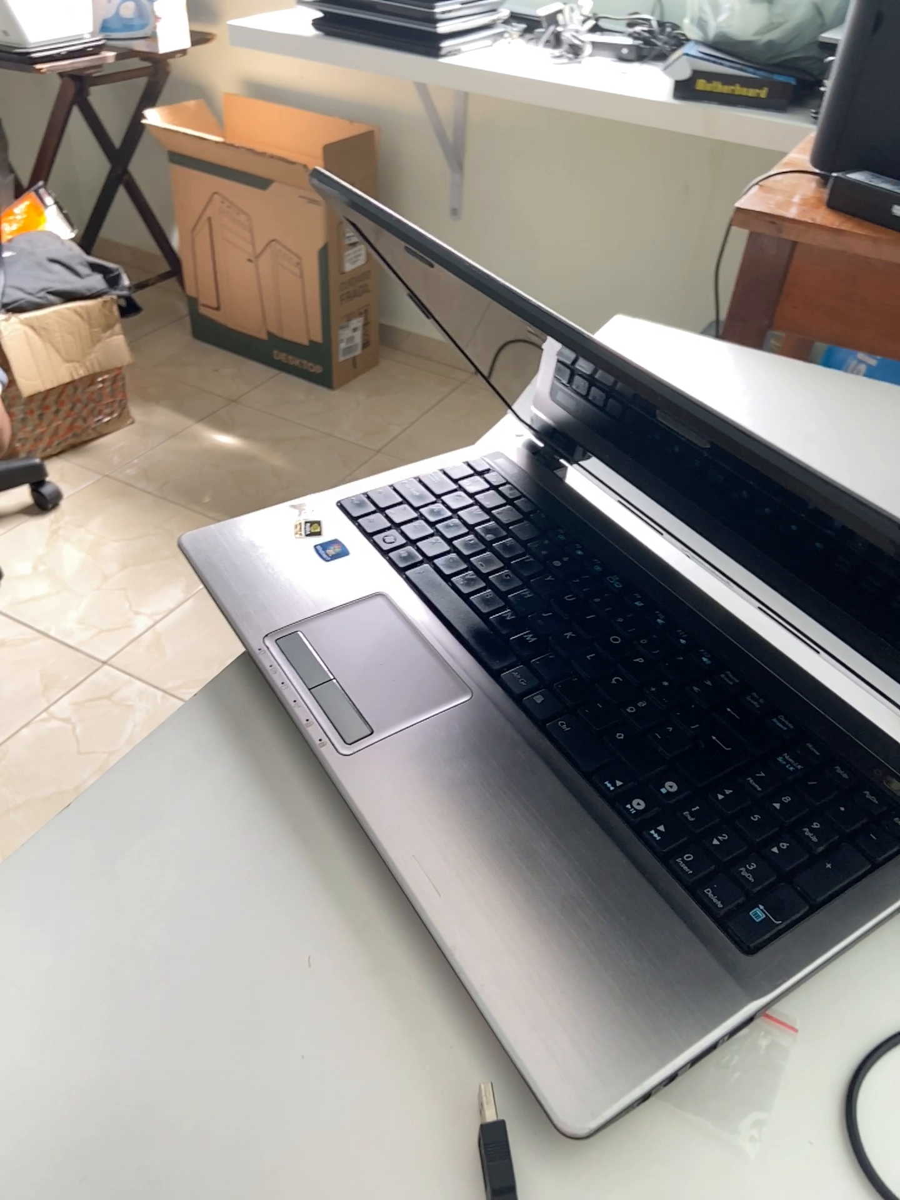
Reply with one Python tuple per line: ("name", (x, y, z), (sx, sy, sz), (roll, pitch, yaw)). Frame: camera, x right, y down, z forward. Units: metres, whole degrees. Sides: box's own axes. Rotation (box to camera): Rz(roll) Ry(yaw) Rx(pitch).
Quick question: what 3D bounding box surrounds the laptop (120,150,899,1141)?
("laptop", (0.047, -0.042, 0.416), (0.247, 0.182, 0.377), (-20, 45, -25))
